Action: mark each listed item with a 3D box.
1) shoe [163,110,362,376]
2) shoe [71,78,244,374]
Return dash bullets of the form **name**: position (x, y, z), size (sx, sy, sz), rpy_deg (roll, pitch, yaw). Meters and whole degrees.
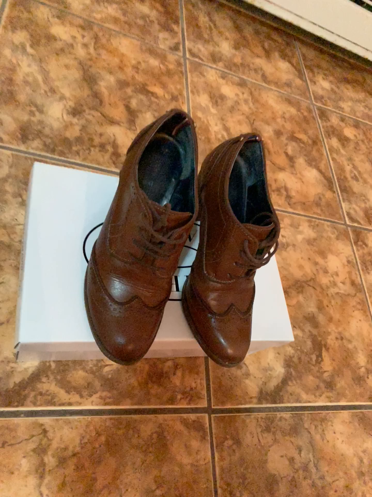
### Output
- **shoe**: position (0.058, -0.001, 0.400), size (0.096, 0.137, 0.228), rpy_deg (4, 61, -26)
- **shoe**: position (-0.035, -0.015, 0.359), size (0.096, 0.137, 0.228), rpy_deg (11, 59, -22)
